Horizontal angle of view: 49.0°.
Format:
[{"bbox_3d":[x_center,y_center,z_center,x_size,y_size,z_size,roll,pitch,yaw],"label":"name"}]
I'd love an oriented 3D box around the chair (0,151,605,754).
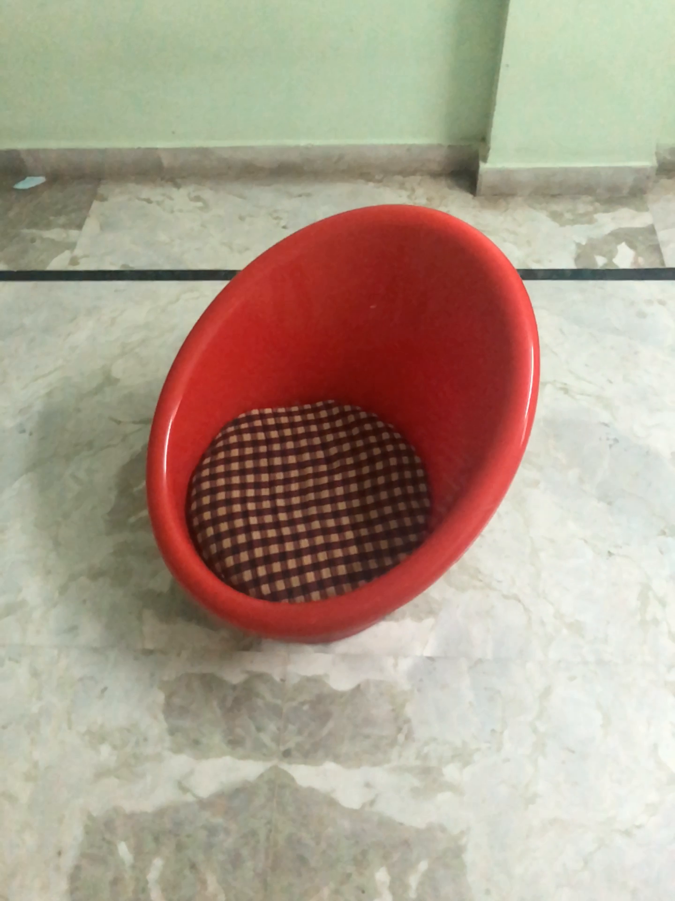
[{"bbox_3d":[-0.036,-0.032,1.324,0.621,0.507,0.742,30,60,22],"label":"chair"}]
